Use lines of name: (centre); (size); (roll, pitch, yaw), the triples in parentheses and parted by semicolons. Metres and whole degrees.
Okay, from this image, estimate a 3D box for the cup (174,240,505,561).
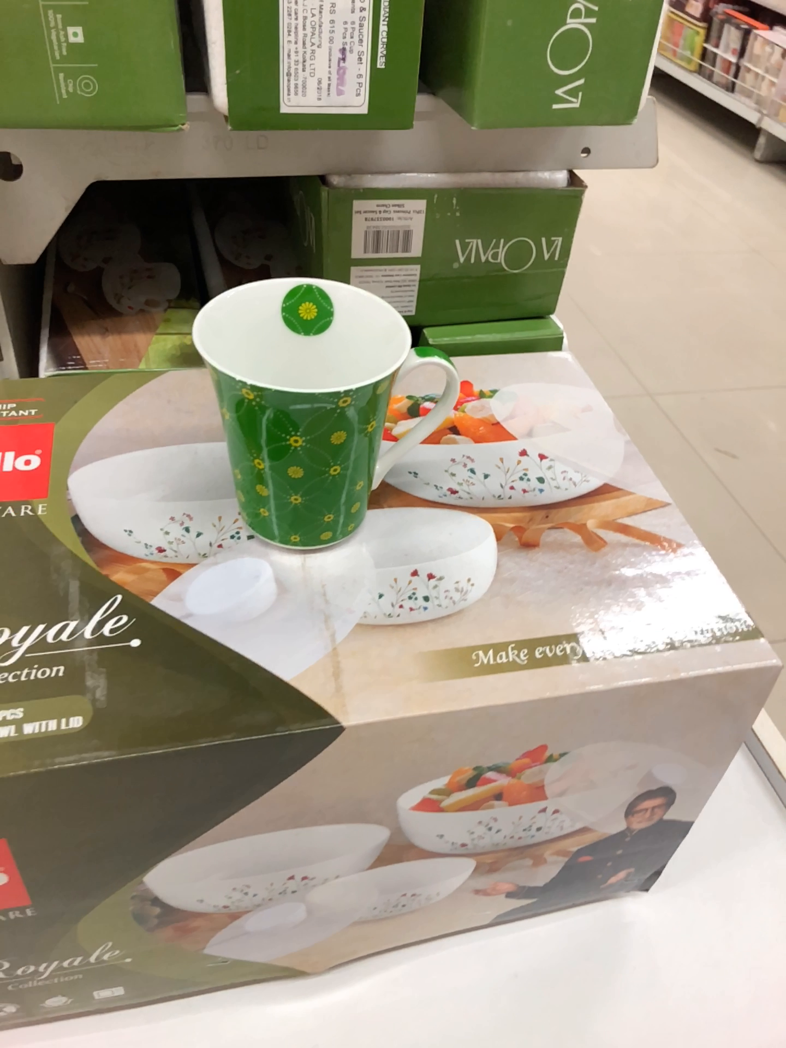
cup: (-0.028, -0.053, 0.356); (0.110, 0.089, 0.091); (-5, 42, -13)
